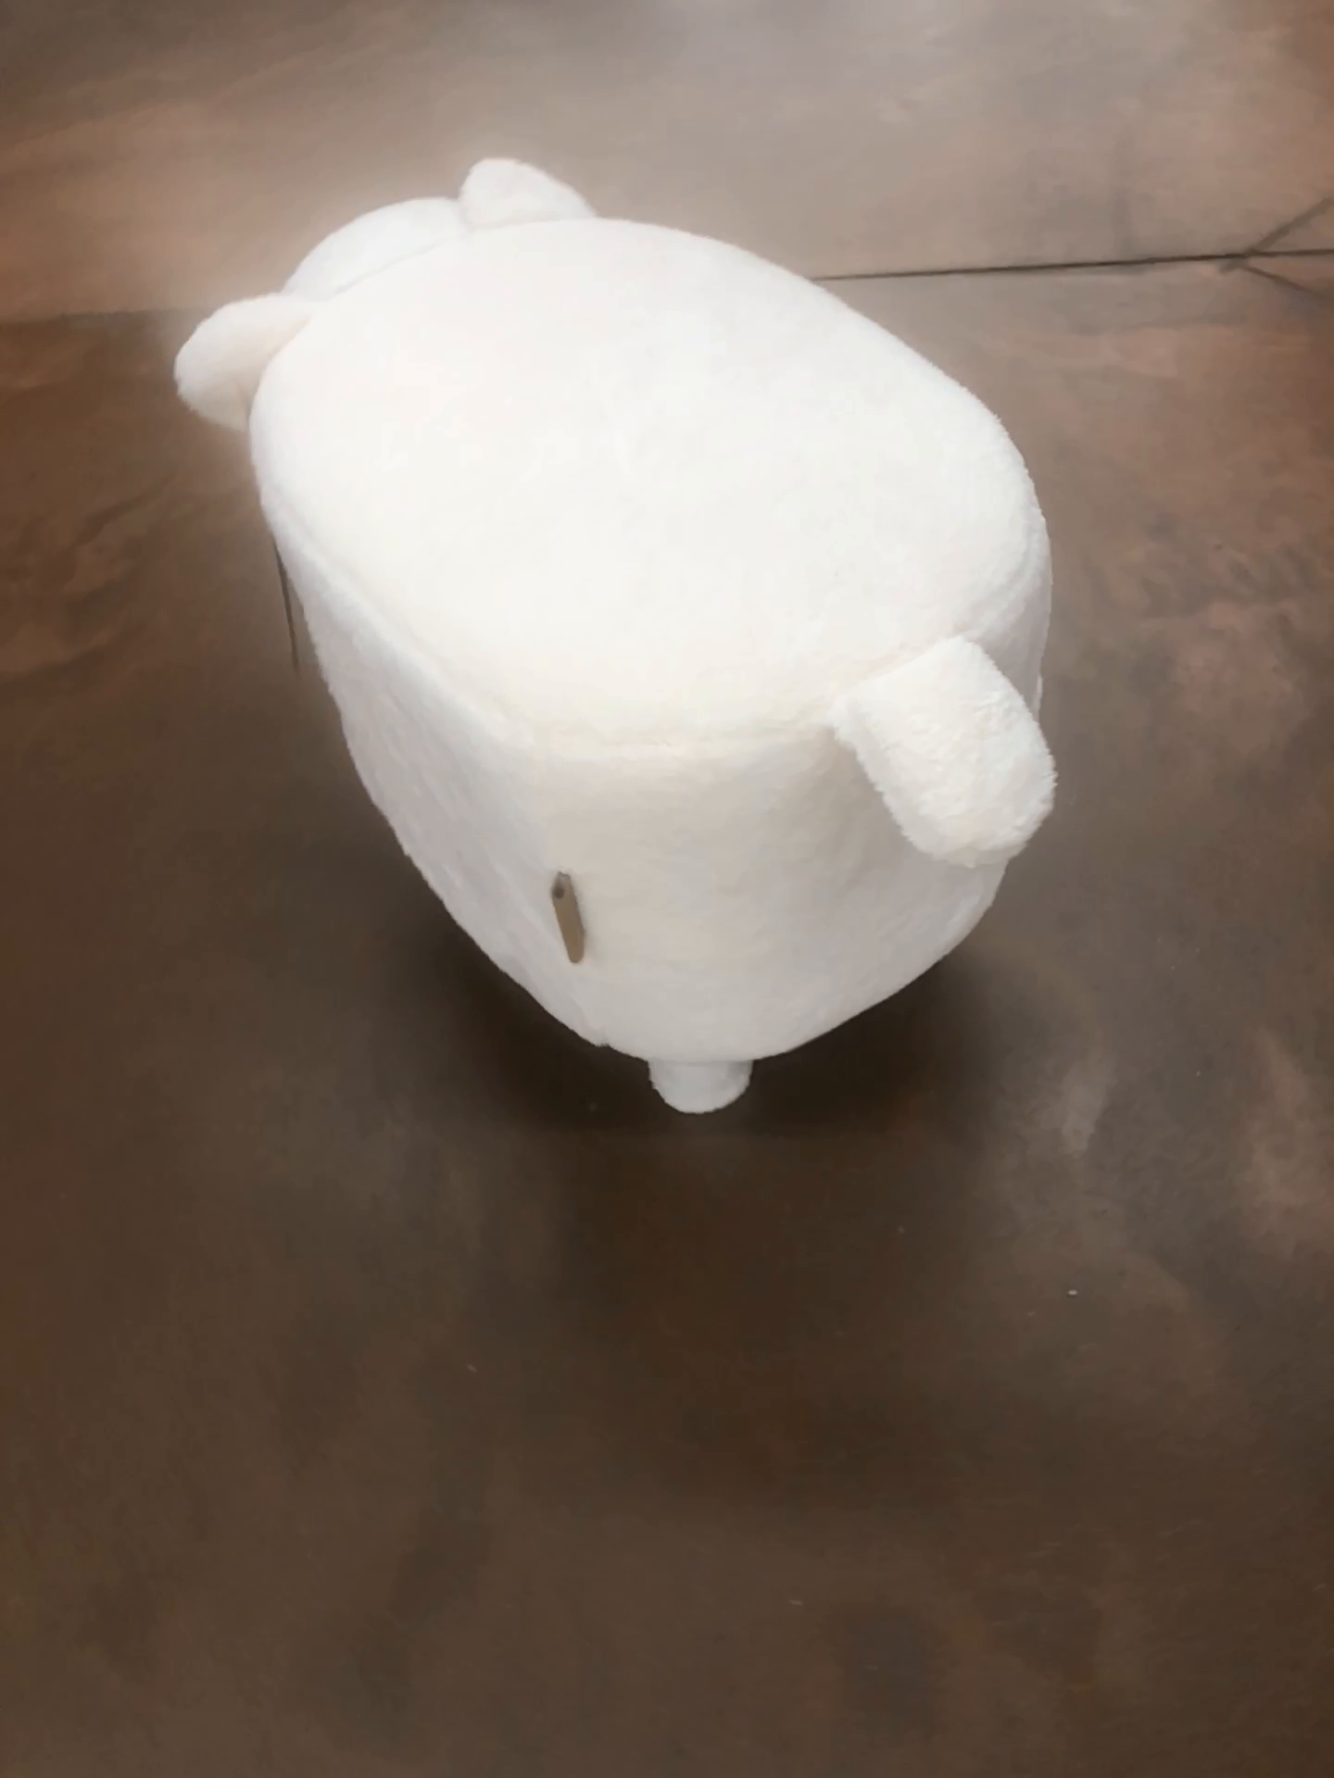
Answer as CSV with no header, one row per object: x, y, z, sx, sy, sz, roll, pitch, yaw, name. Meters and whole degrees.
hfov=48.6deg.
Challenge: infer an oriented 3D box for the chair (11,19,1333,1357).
-0.023,-0.164,0.875,0.440,0.349,0.632,-27,54,-14,chair
